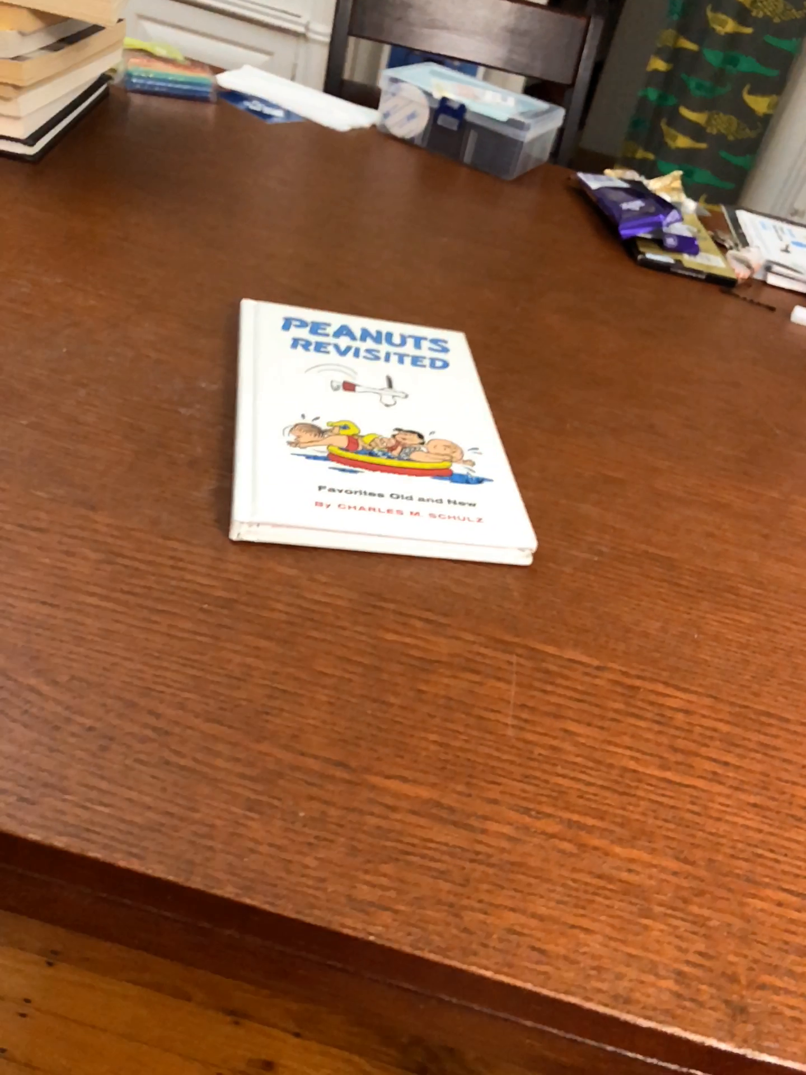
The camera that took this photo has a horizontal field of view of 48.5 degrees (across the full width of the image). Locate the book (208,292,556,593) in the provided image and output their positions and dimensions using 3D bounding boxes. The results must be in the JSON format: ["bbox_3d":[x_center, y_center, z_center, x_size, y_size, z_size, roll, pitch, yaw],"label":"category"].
[{"bbox_3d":[-0.020,-0.060,0.470,0.150,0.020,0.221,6,39,-13],"label":"book"}]
